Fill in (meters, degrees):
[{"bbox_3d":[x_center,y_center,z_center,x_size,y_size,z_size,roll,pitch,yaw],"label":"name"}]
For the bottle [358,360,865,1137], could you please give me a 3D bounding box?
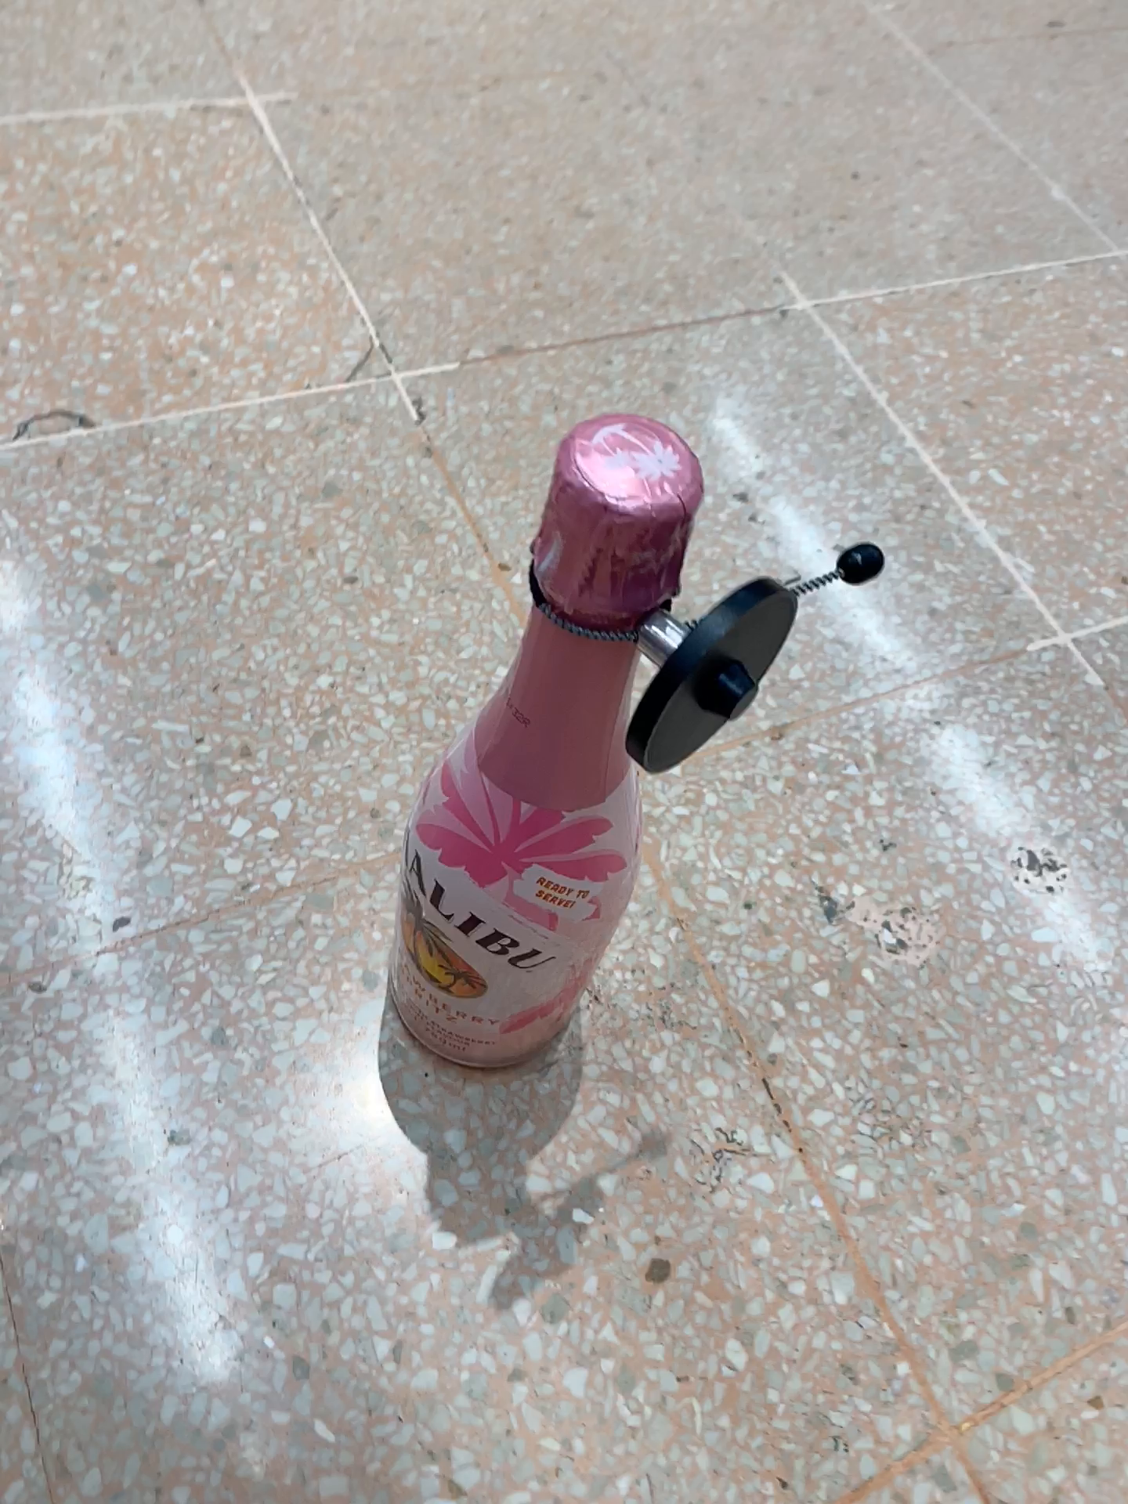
[{"bbox_3d":[-0.008,0.030,0.370,0.080,0.287,0.080,5,57,-8],"label":"bottle"}]
